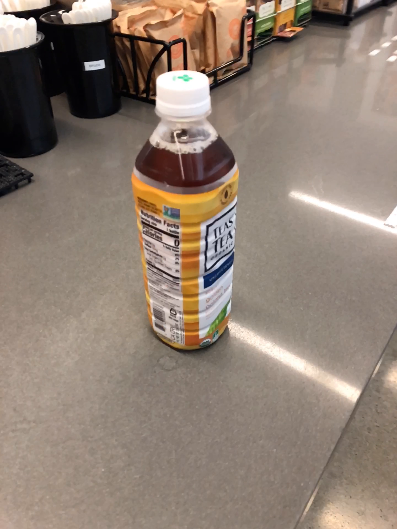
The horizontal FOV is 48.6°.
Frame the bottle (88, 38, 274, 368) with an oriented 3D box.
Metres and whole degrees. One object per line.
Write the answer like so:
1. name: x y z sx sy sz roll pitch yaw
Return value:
1. bottle: -0.006 -0.031 0.295 0.070 0.199 0.070 -1 41 1
